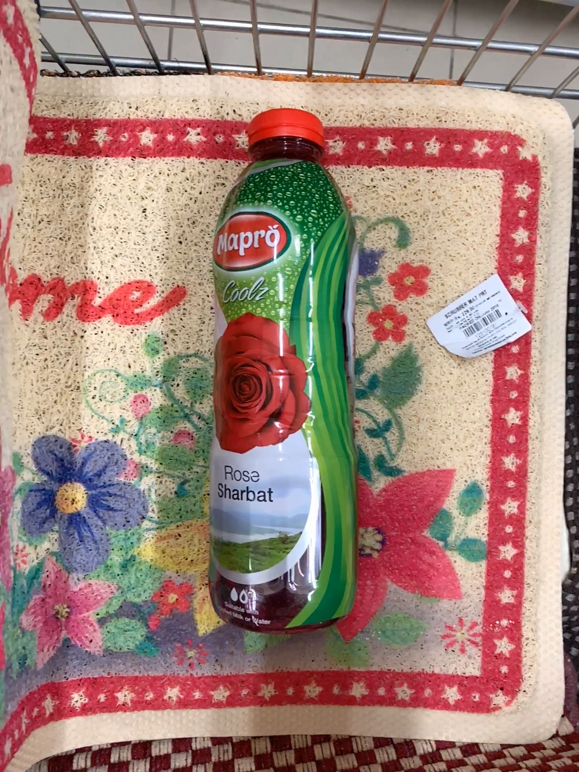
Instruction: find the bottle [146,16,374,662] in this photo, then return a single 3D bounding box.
[{"bbox_3d":[-0.010,-0.018,0.284,0.080,0.080,0.250,1,91,24],"label":"bottle"}]
